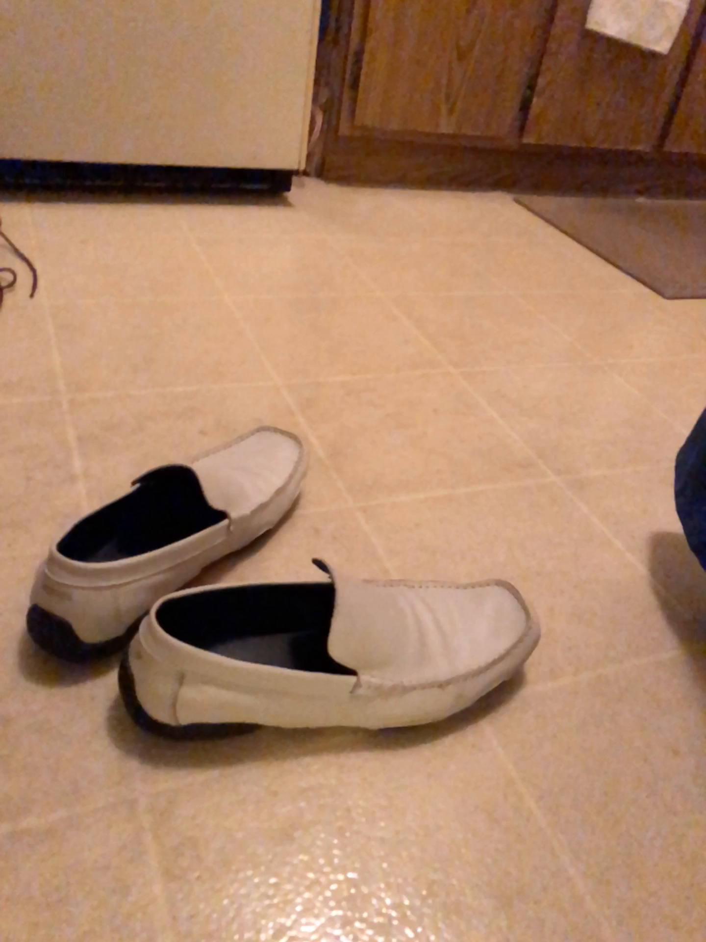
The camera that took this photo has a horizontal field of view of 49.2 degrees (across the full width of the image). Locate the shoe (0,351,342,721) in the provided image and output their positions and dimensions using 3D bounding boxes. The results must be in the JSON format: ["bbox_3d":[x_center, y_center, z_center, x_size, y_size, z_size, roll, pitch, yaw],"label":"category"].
[{"bbox_3d":[-0.132,0.023,0.584,0.110,0.097,0.308,22,37,17],"label":"shoe"}]

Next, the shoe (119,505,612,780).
[{"bbox_3d":[0.000,0.102,0.504,0.289,0.097,0.111,-2,36,-16],"label":"shoe"}]
